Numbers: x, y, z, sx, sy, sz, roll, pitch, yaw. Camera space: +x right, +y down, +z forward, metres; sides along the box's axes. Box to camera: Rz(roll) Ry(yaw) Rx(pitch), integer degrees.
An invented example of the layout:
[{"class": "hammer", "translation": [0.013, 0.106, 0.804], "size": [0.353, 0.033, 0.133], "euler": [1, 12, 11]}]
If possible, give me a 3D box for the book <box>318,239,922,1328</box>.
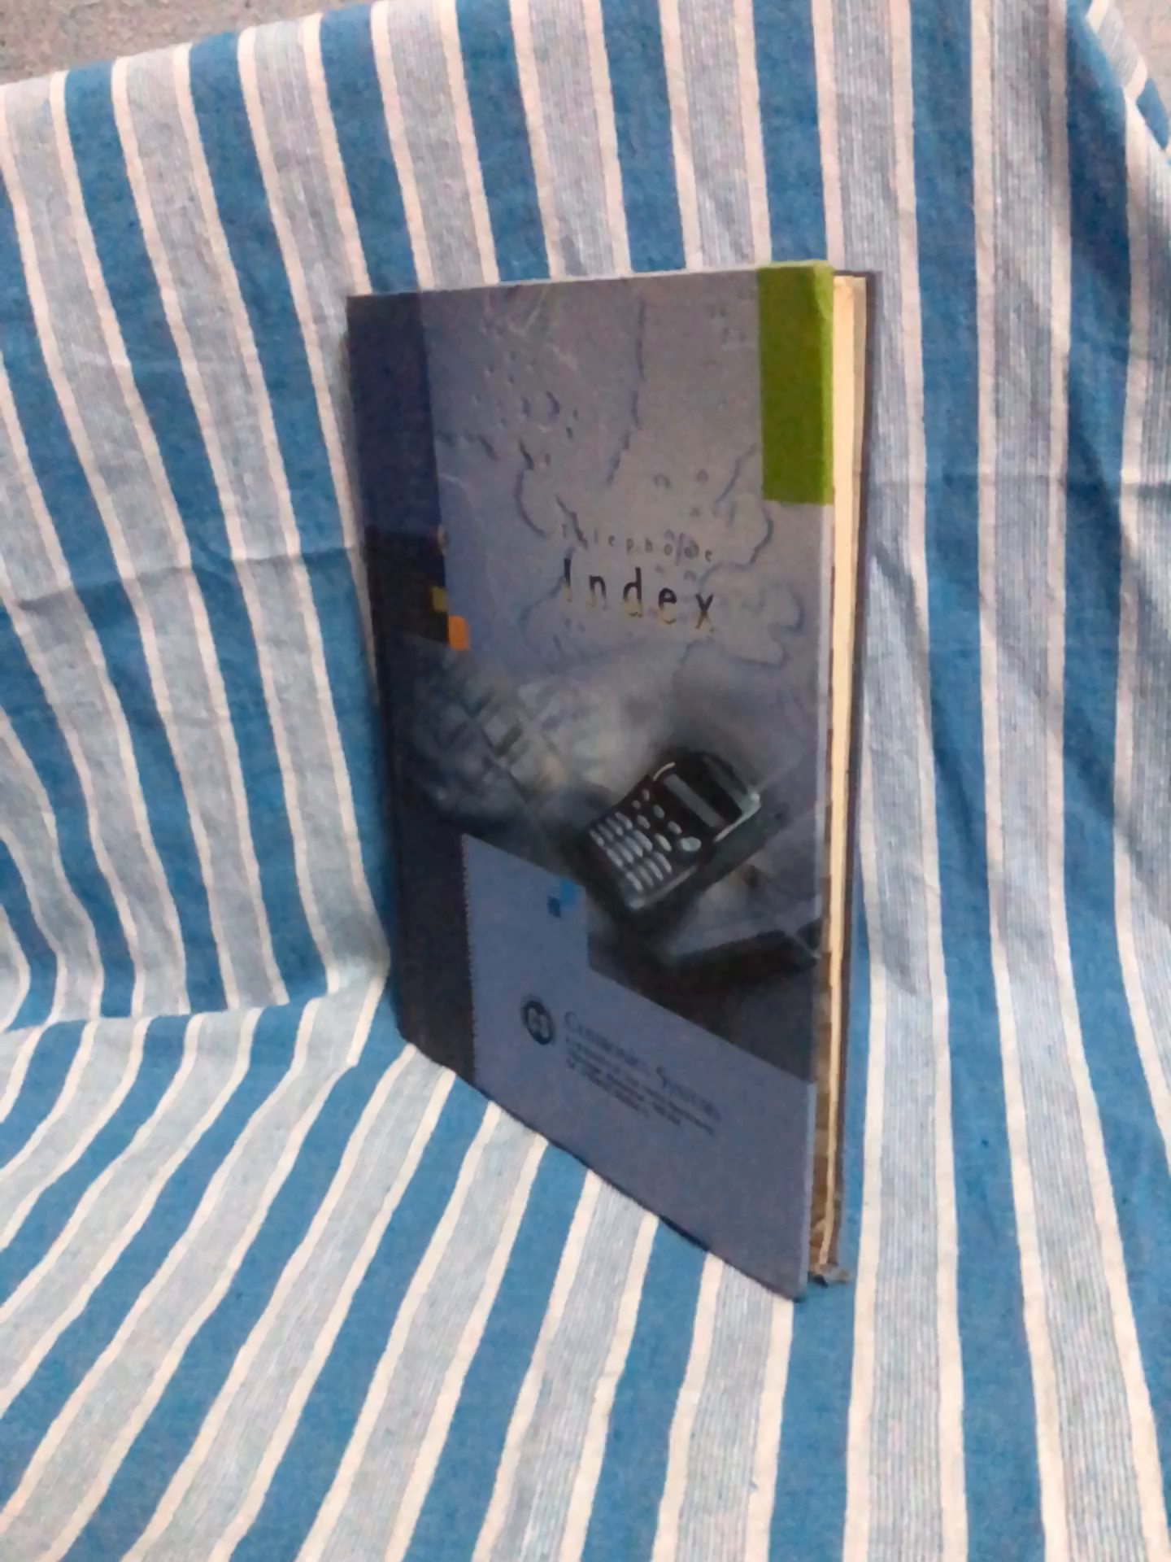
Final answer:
[{"class": "book", "translation": [-0.002, -0.008, 0.358], "size": [0.023, 0.252, 0.193], "euler": [-18, 25, -38]}]
